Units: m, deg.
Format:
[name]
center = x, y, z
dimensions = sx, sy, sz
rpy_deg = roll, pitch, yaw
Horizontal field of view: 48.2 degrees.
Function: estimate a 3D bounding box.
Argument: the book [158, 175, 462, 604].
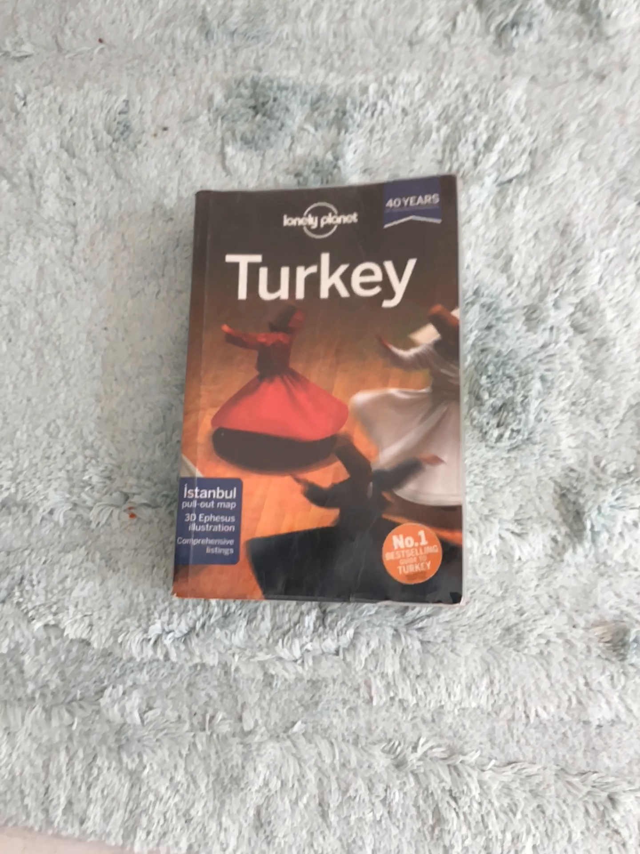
[book]
center = 0.000, -0.017, 0.341
dimensions = 0.130, 0.046, 0.190
rpy_deg = 0, 80, 9
